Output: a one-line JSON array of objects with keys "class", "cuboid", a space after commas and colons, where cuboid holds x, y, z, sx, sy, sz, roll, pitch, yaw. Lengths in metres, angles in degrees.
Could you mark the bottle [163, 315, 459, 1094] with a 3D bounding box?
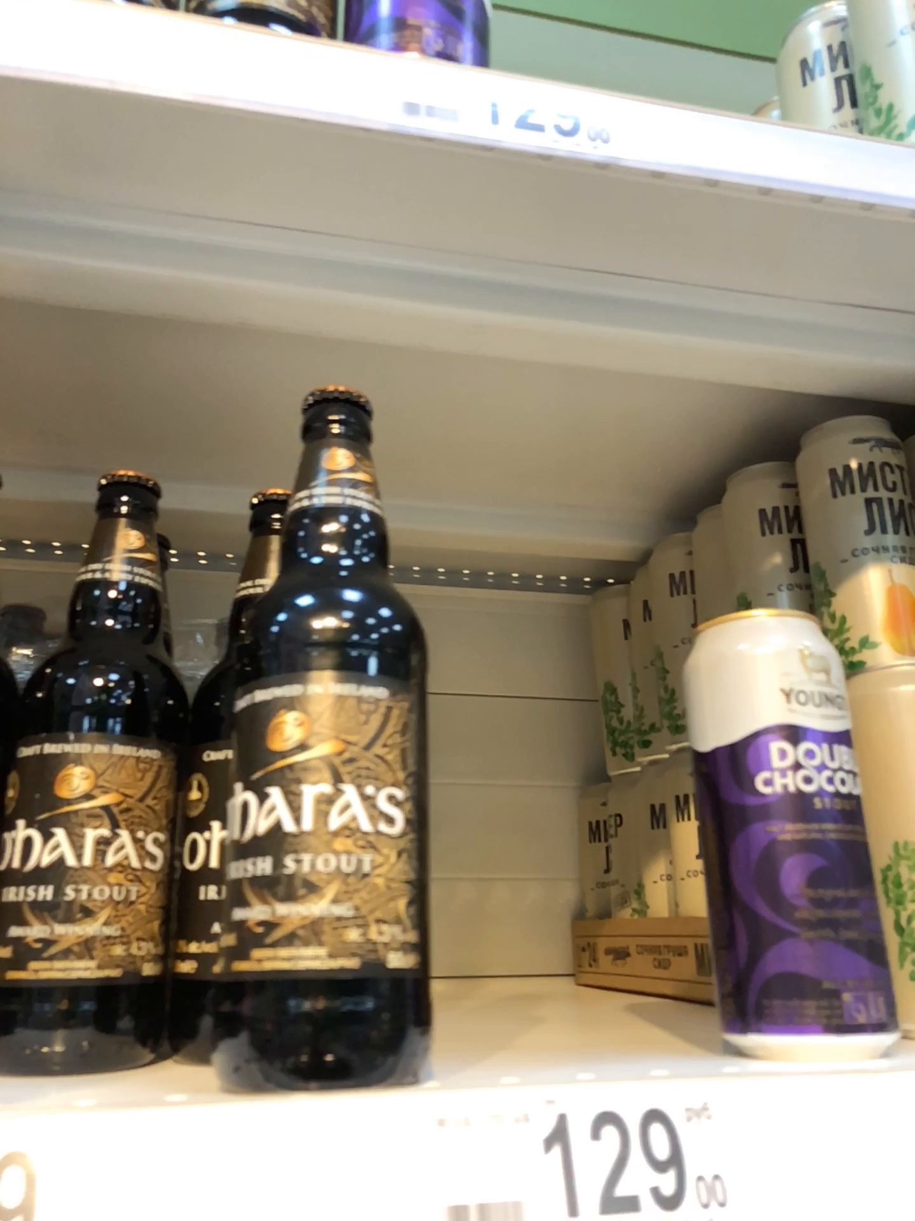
[{"class": "bottle", "cuboid": [-0.042, 0.027, 0.343, 0.070, 0.241, 0.070, 0, -18, 0]}]
